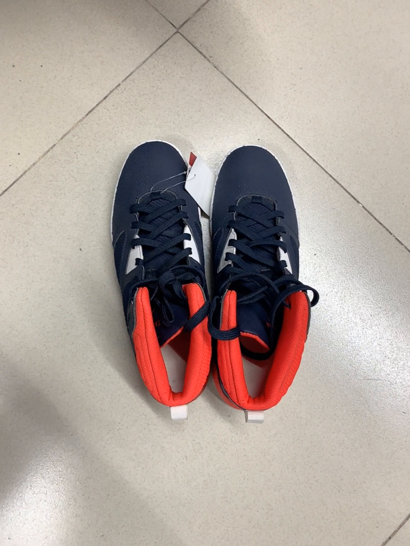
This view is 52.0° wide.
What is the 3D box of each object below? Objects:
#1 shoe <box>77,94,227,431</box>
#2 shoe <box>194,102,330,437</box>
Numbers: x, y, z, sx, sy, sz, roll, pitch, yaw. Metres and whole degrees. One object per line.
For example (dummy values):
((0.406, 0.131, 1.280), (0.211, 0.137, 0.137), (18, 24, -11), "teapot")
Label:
((-0.048, -0.010, 0.419), (0.110, 0.100, 0.290), (-5, 85, 0), "shoe")
((0.052, -0.003, 0.426), (0.110, 0.120, 0.290), (2, 85, 0), "shoe")
